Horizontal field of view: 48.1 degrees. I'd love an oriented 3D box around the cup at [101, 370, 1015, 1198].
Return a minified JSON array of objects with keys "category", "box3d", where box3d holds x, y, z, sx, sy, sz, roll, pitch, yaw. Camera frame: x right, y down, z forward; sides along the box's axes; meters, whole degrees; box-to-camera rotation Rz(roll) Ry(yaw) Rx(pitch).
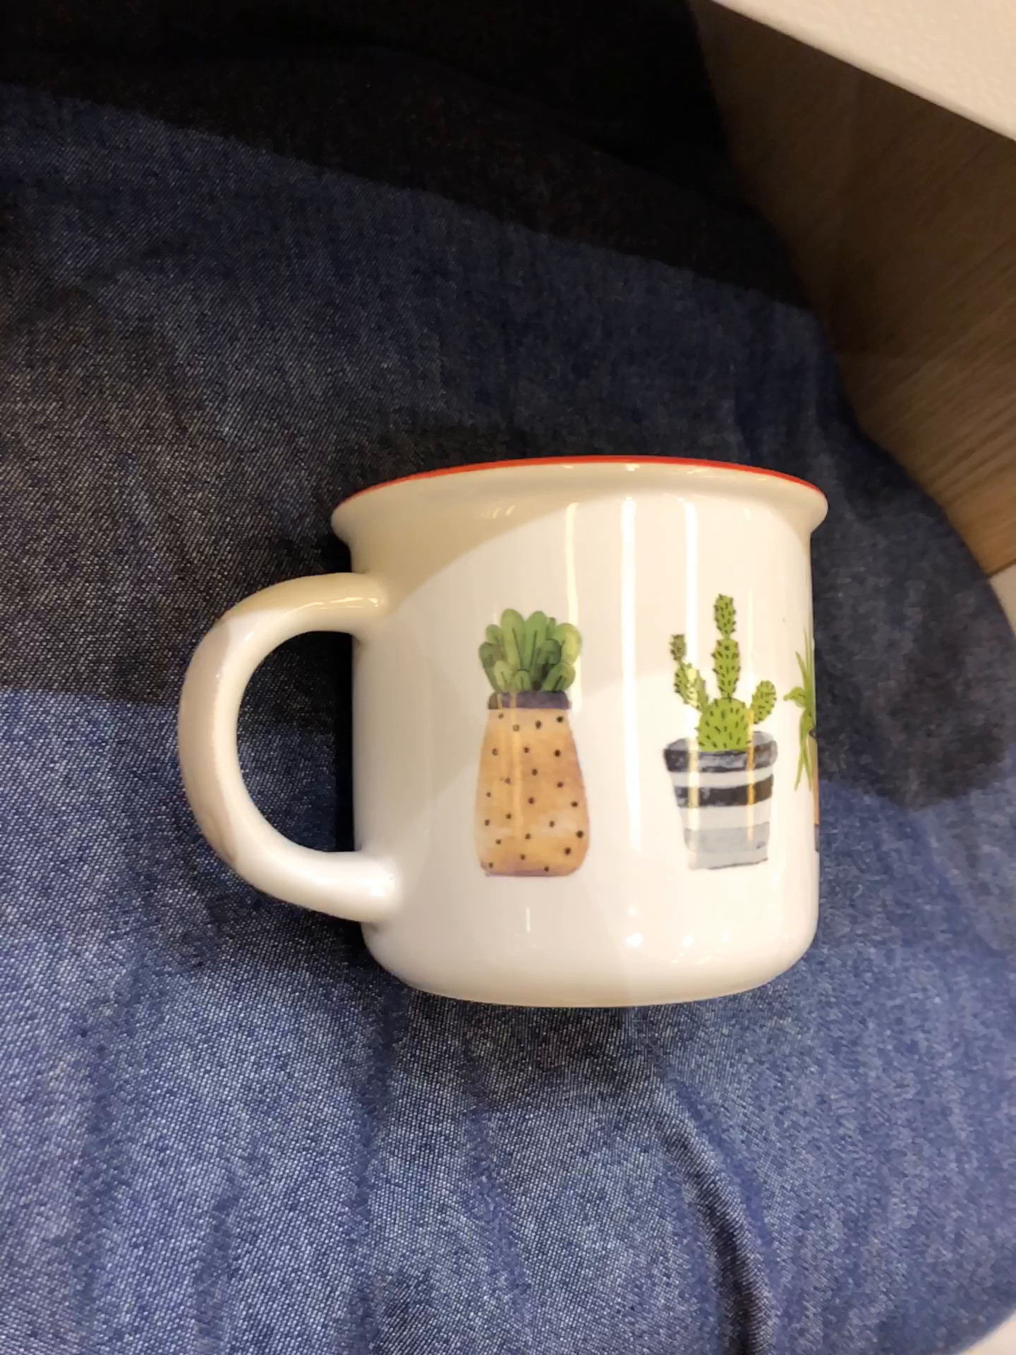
[{"category":"cup","box3d":[0.008,0.017,0.212,0.141,0.090,0.100,0,81,-31]}]
